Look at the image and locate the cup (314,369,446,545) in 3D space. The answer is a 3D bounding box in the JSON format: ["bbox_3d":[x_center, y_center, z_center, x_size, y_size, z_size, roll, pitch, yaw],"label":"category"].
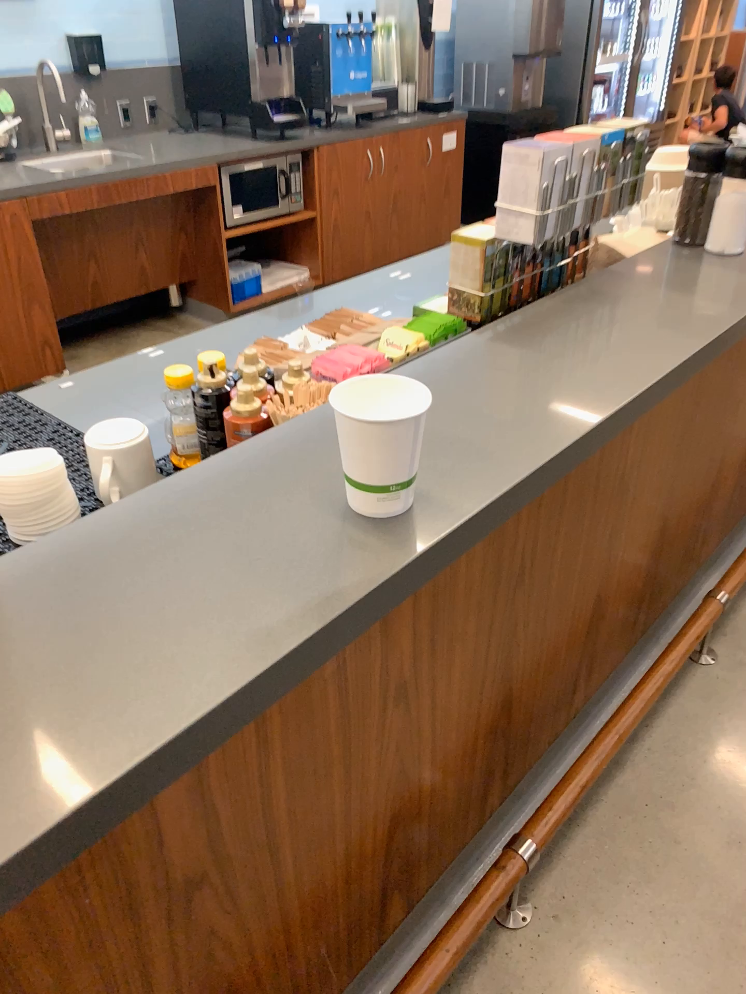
[{"bbox_3d":[0.003,-0.038,0.677,0.090,0.109,0.101,-8,34,-12],"label":"cup"}]
